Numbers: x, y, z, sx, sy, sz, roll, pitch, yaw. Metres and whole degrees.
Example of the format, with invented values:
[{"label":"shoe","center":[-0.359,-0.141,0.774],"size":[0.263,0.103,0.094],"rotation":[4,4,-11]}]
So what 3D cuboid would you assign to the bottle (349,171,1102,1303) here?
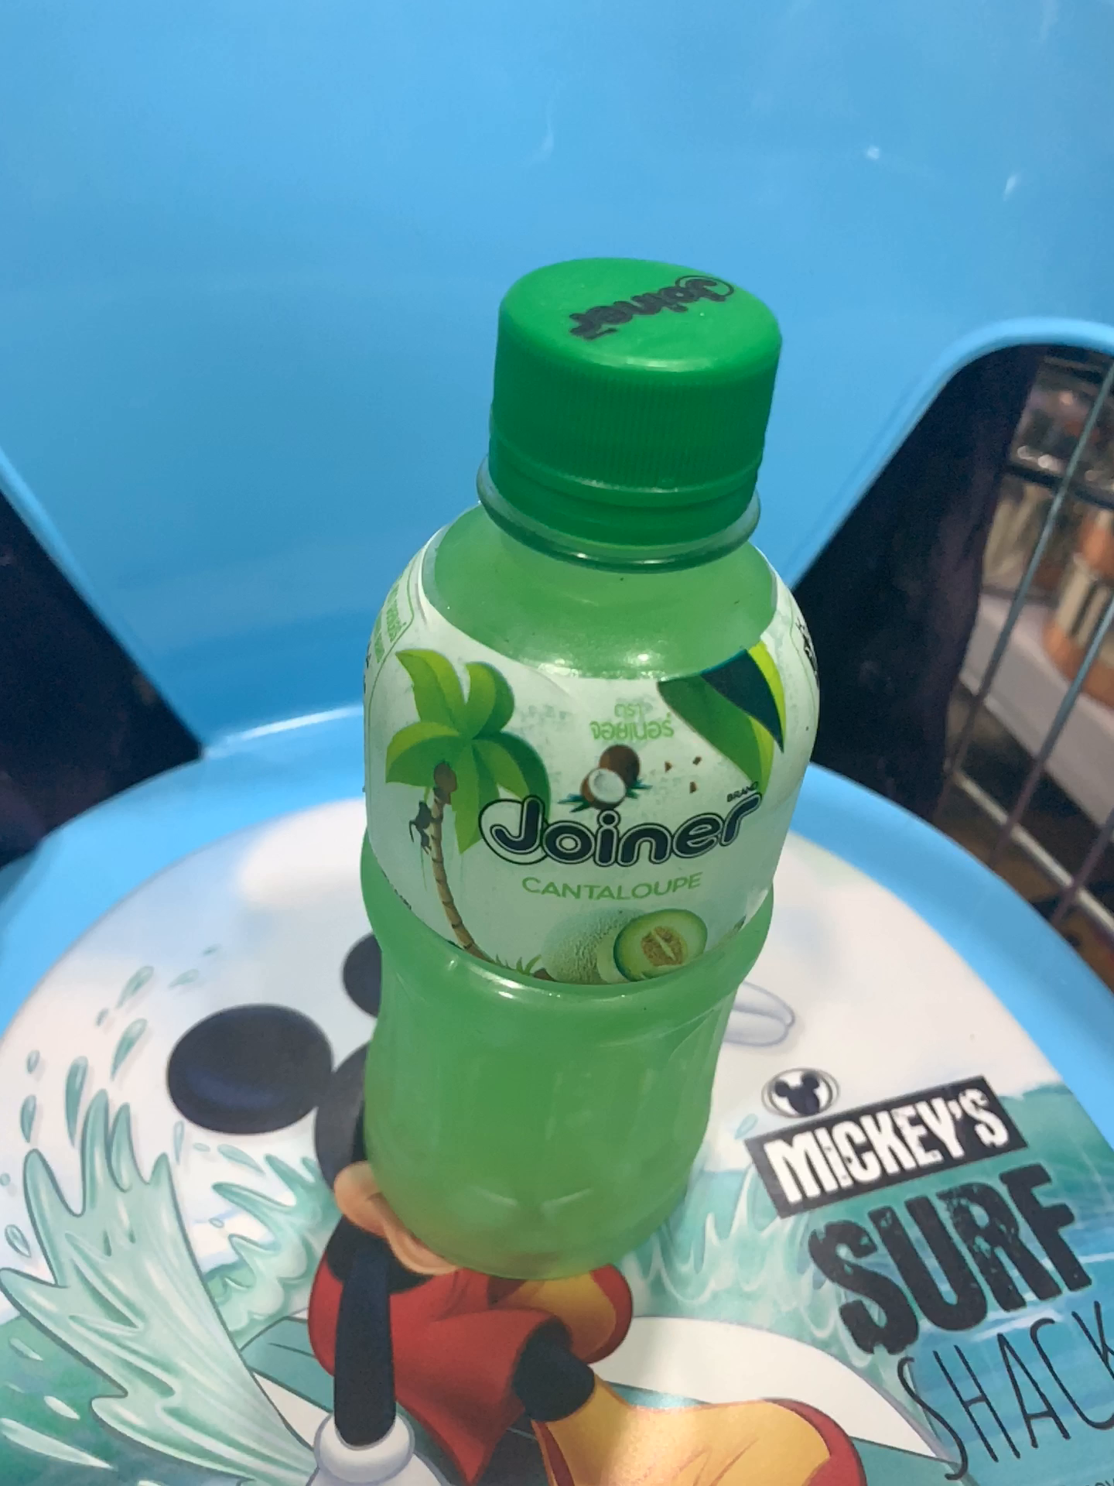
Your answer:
[{"label":"bottle","center":[0.007,0.006,0.158],"size":[0.060,0.139,0.060],"rotation":[3,37,-2]}]
